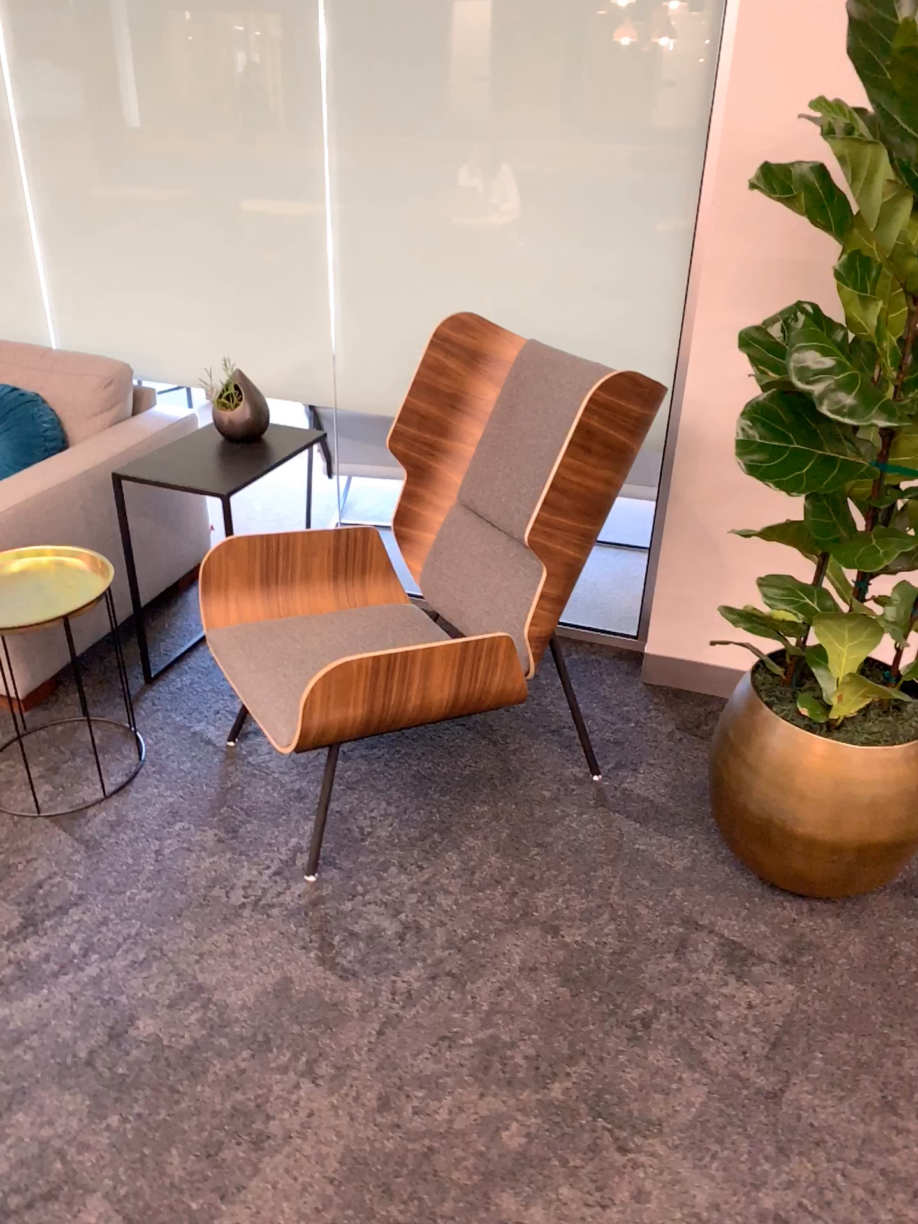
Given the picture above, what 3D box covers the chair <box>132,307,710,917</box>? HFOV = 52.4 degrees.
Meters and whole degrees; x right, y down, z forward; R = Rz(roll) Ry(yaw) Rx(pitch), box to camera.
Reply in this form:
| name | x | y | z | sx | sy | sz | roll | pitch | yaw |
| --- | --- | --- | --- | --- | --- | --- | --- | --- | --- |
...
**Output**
| name | x | y | z | sx | sy | sz | roll | pitch | yaw |
| --- | --- | --- | --- | --- | --- | --- | --- | --- | --- |
| chair | -0.131 | -0.102 | 2.232 | 0.930 | 0.994 | 0.885 | -14 | 32 | -27 |
